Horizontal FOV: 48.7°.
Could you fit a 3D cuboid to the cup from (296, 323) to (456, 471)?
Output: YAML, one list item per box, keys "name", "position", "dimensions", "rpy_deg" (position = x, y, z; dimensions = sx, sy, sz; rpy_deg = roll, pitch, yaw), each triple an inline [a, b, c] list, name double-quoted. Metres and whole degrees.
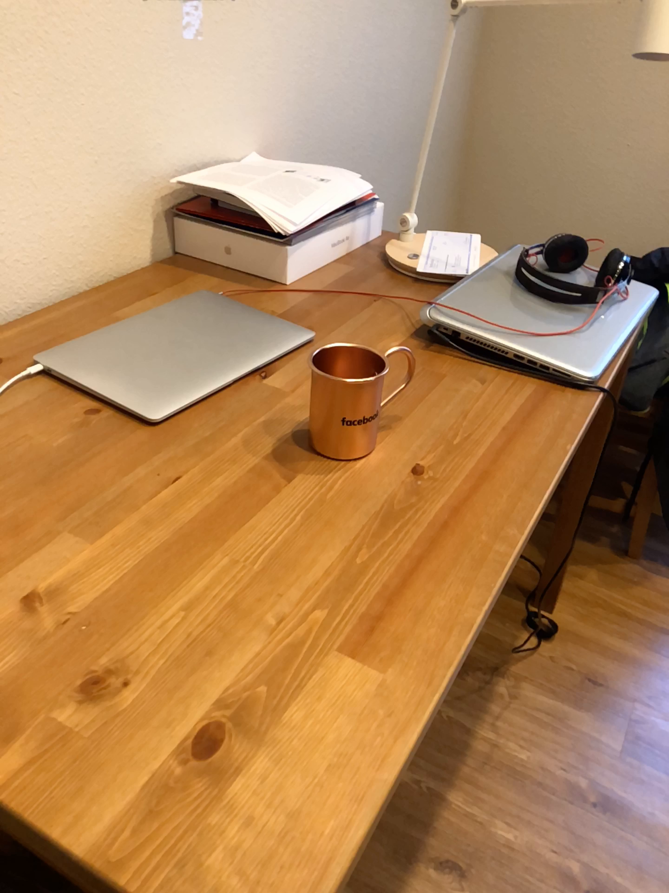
- name: "cup"
  position: [0.039, -0.053, 0.747]
  dimensions: [0.130, 0.100, 0.080]
  rpy_deg: [-15, 38, -26]
